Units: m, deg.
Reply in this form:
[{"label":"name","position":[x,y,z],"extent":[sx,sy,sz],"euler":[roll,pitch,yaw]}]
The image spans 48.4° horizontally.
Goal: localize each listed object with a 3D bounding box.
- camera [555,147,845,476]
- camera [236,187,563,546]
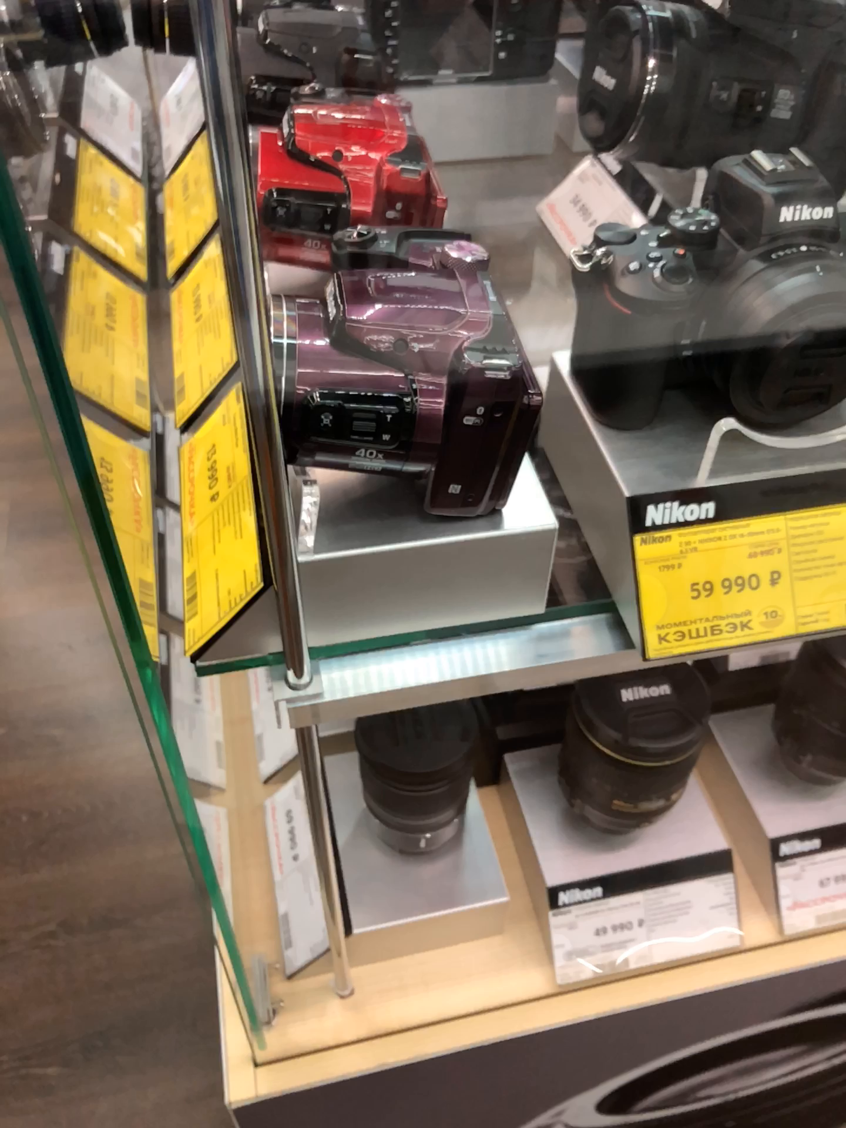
[{"label":"camera","position":[0.137,-0.107,0.389],"extent":[0.133,0.084,0.100],"euler":[-6,46,-7]},{"label":"camera","position":[-0.014,-0.078,0.359],"extent":[0.100,0.080,0.110],"euler":[-6,46,-7]}]
